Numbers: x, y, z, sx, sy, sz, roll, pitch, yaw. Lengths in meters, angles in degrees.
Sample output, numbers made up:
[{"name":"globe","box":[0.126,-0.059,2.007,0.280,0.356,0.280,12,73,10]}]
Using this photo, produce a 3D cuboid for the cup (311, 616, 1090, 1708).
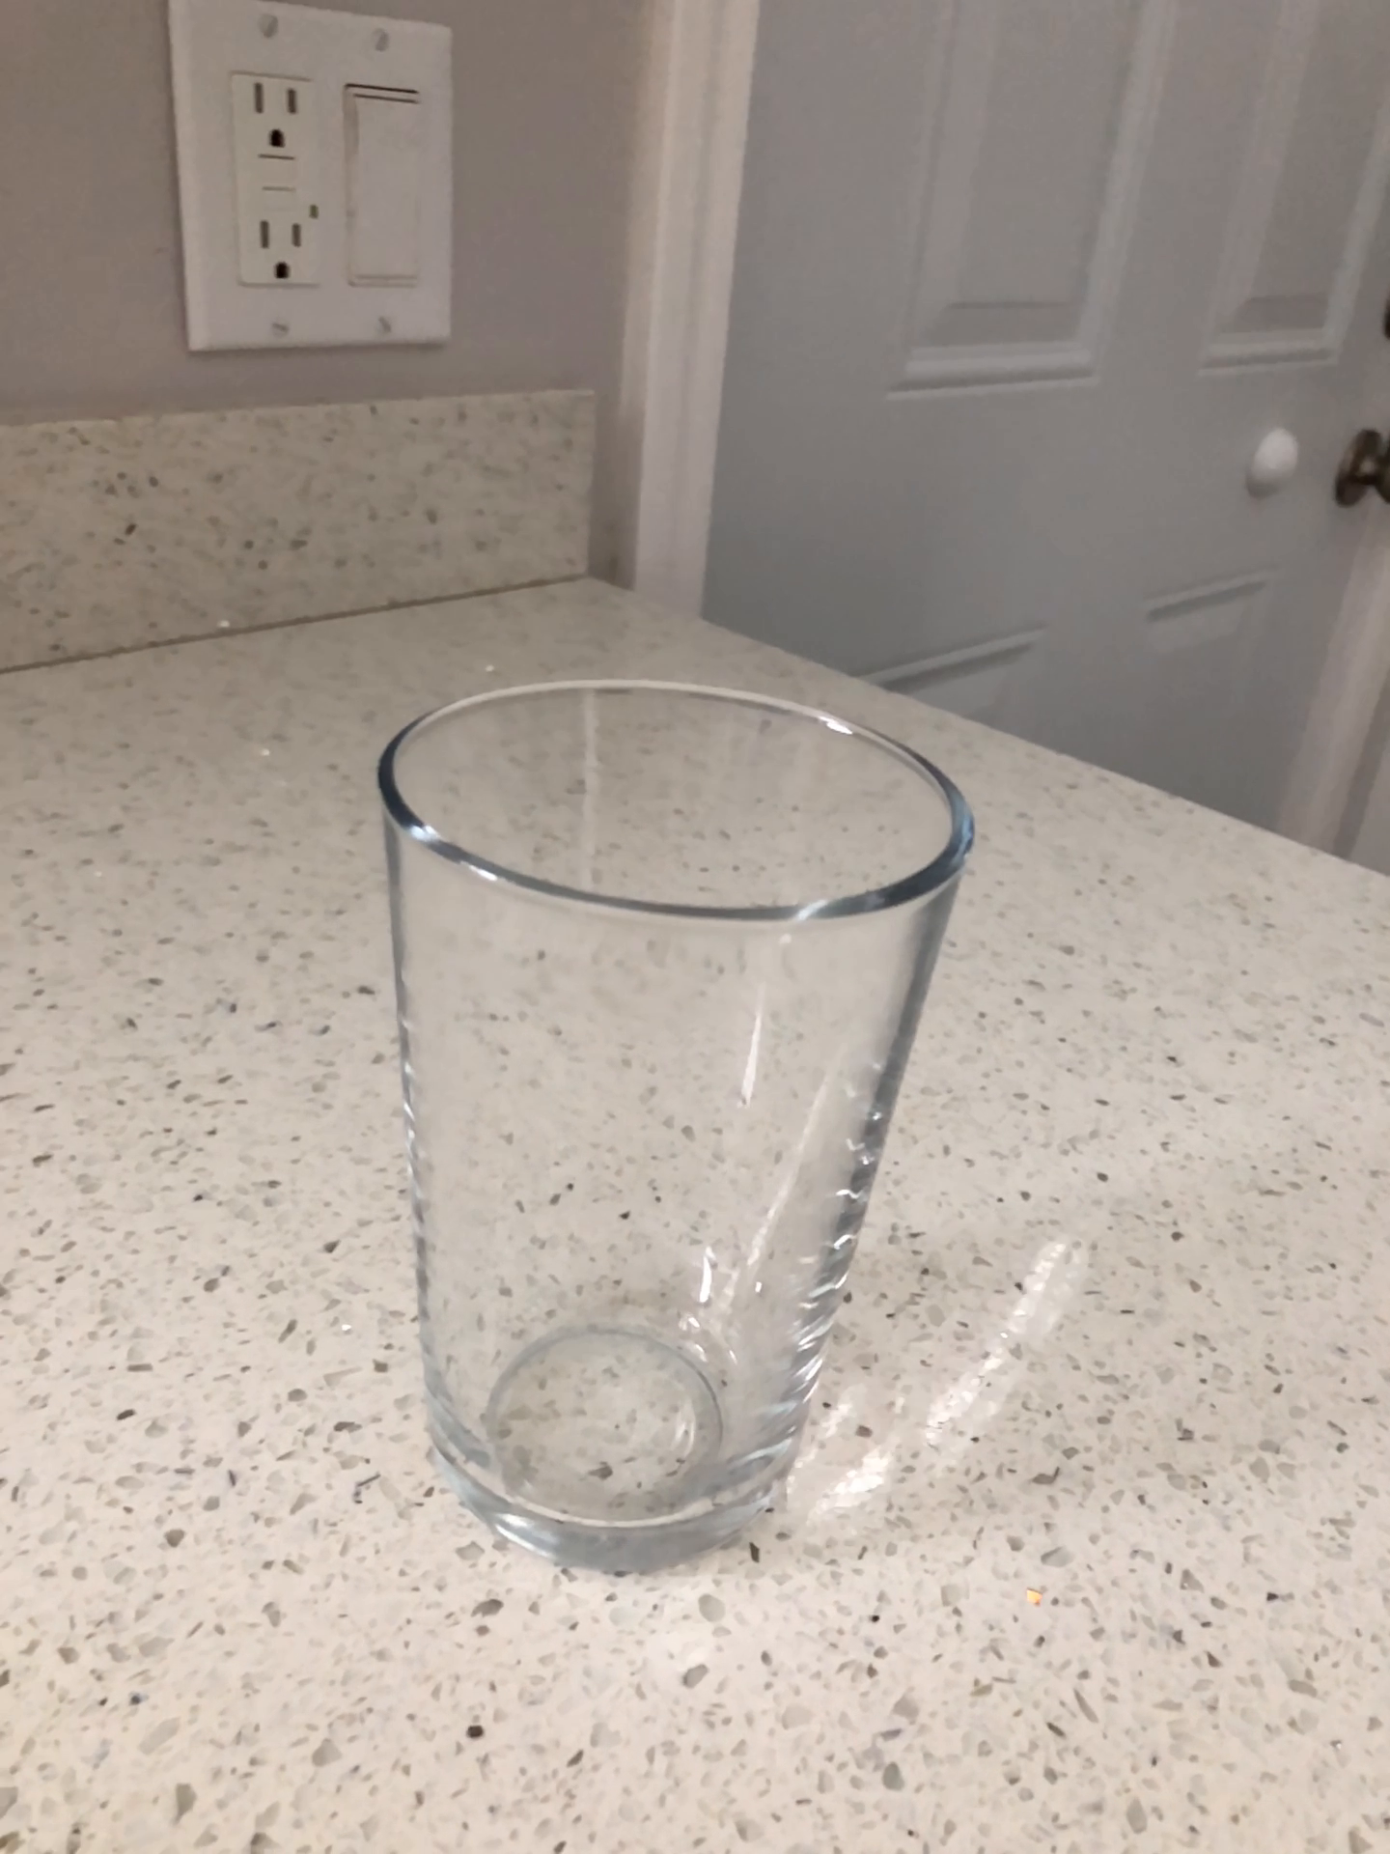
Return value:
[{"name":"cup","box":[0.002,0.028,0.213,0.080,0.114,0.074,5,28,-2]}]
